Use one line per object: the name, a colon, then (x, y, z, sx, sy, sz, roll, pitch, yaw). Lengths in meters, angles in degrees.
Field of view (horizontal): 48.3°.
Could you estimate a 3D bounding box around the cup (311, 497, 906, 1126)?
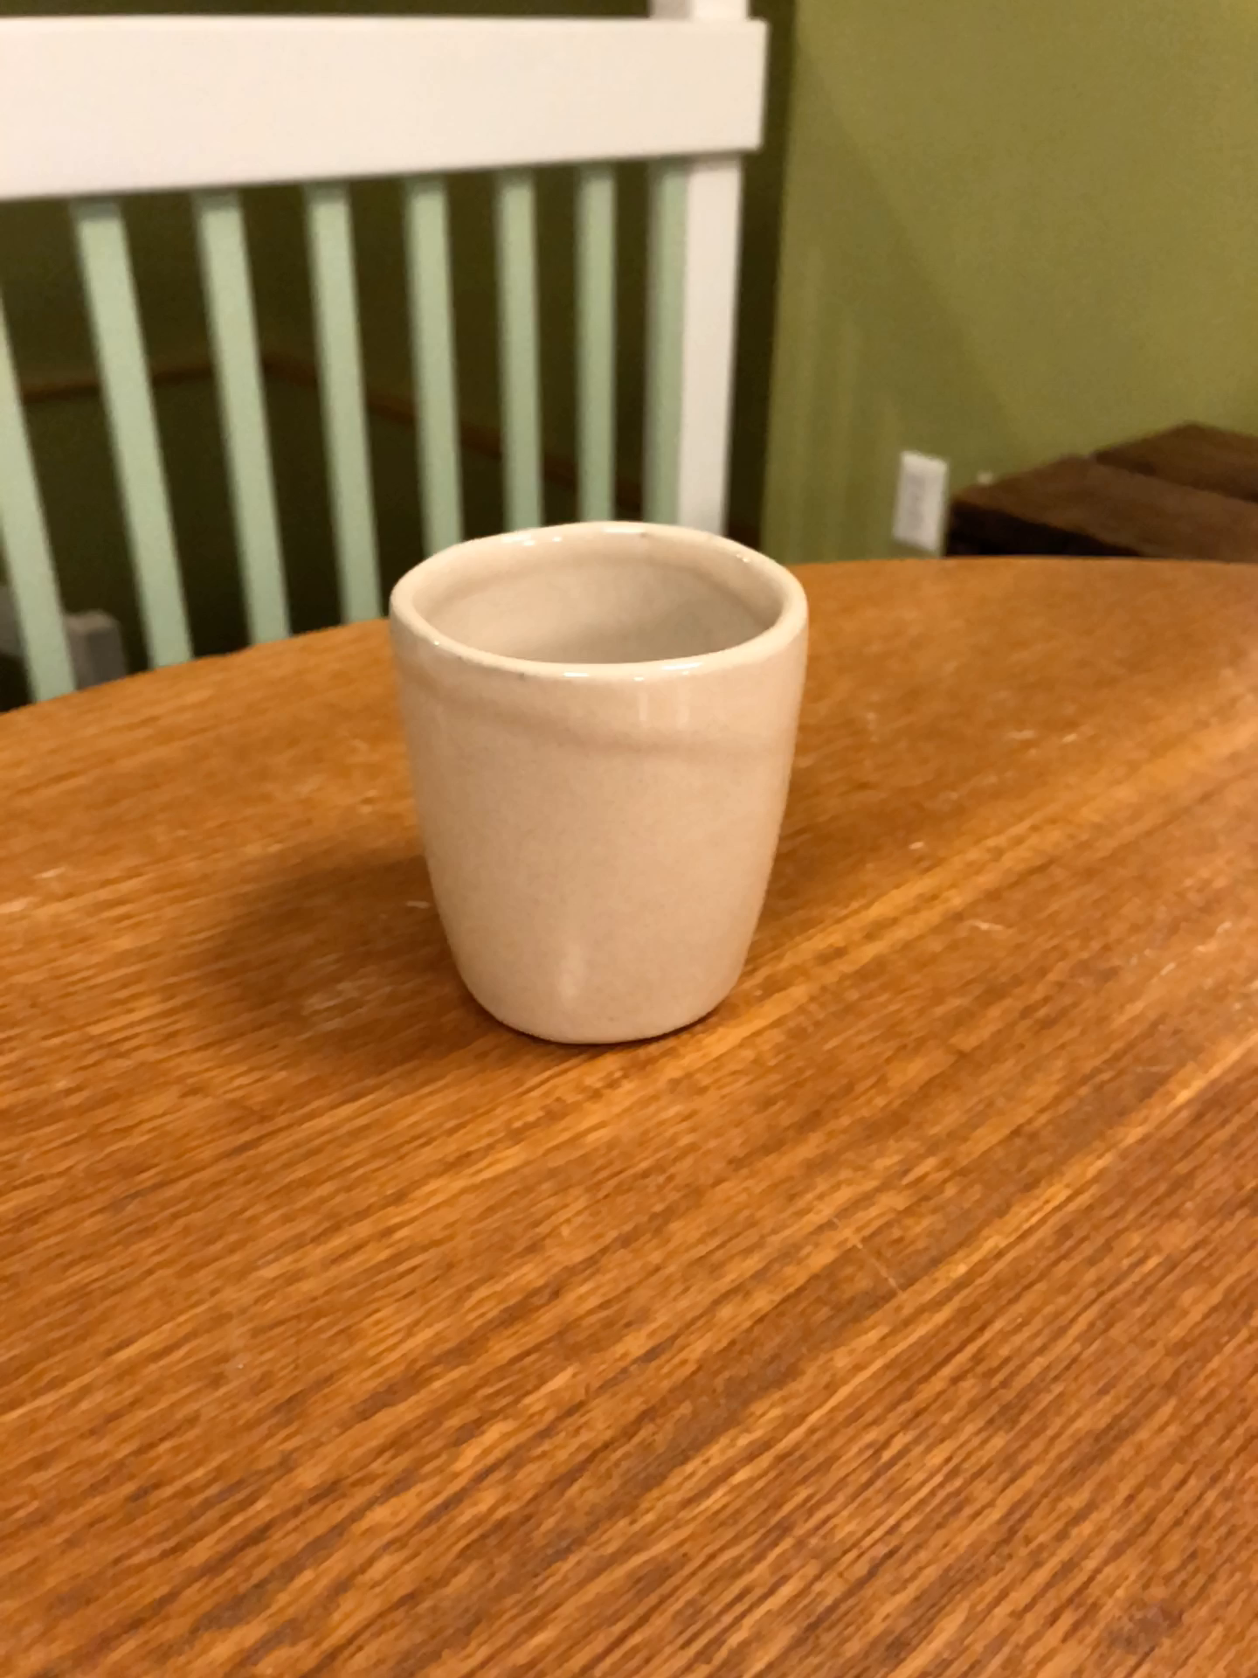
cup: (-0.005, -0.012, 0.299, 0.084, 0.086, 0.083, 1, 30, 0)
